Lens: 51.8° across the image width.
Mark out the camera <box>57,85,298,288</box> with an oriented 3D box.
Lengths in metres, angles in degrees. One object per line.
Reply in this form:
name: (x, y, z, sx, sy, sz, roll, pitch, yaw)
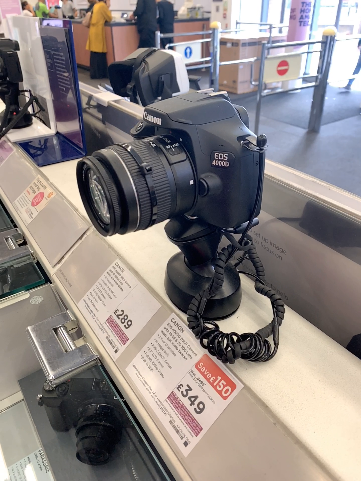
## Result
camera: (-0.009, -0.061, 0.317, 0.136, 0.101, 0.141, -19, 36, -25)
